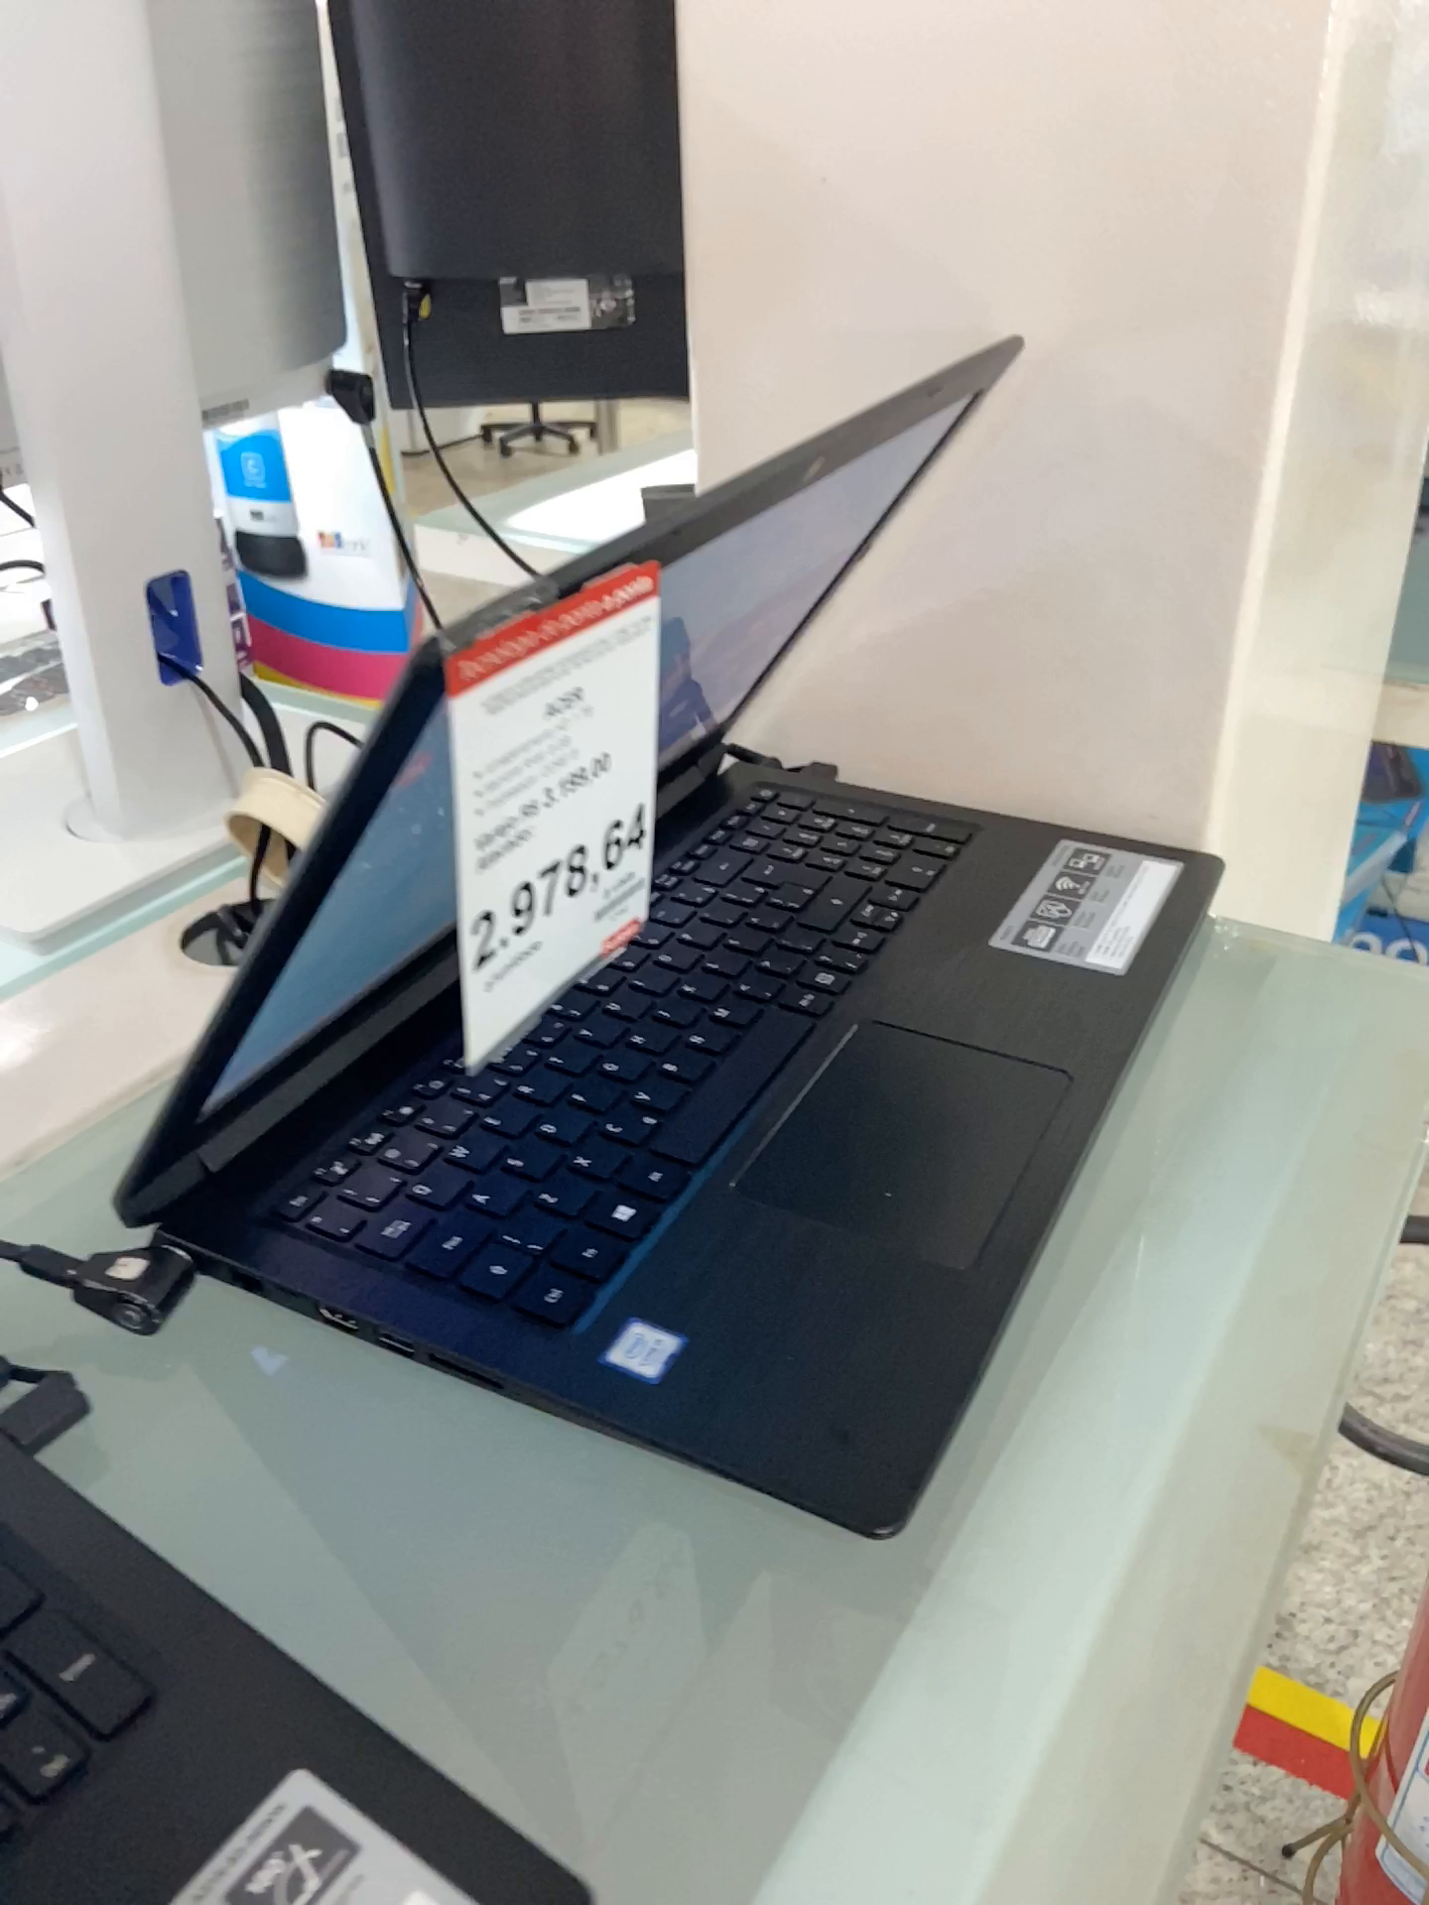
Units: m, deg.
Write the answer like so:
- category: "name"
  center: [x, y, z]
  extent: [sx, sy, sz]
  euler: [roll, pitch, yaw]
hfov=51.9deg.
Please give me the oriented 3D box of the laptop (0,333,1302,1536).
- category: "laptop"
  center: [0.020, -0.062, 0.479]
  extent: [0.234, 0.193, 0.369]
  euler: [14, 35, 25]
